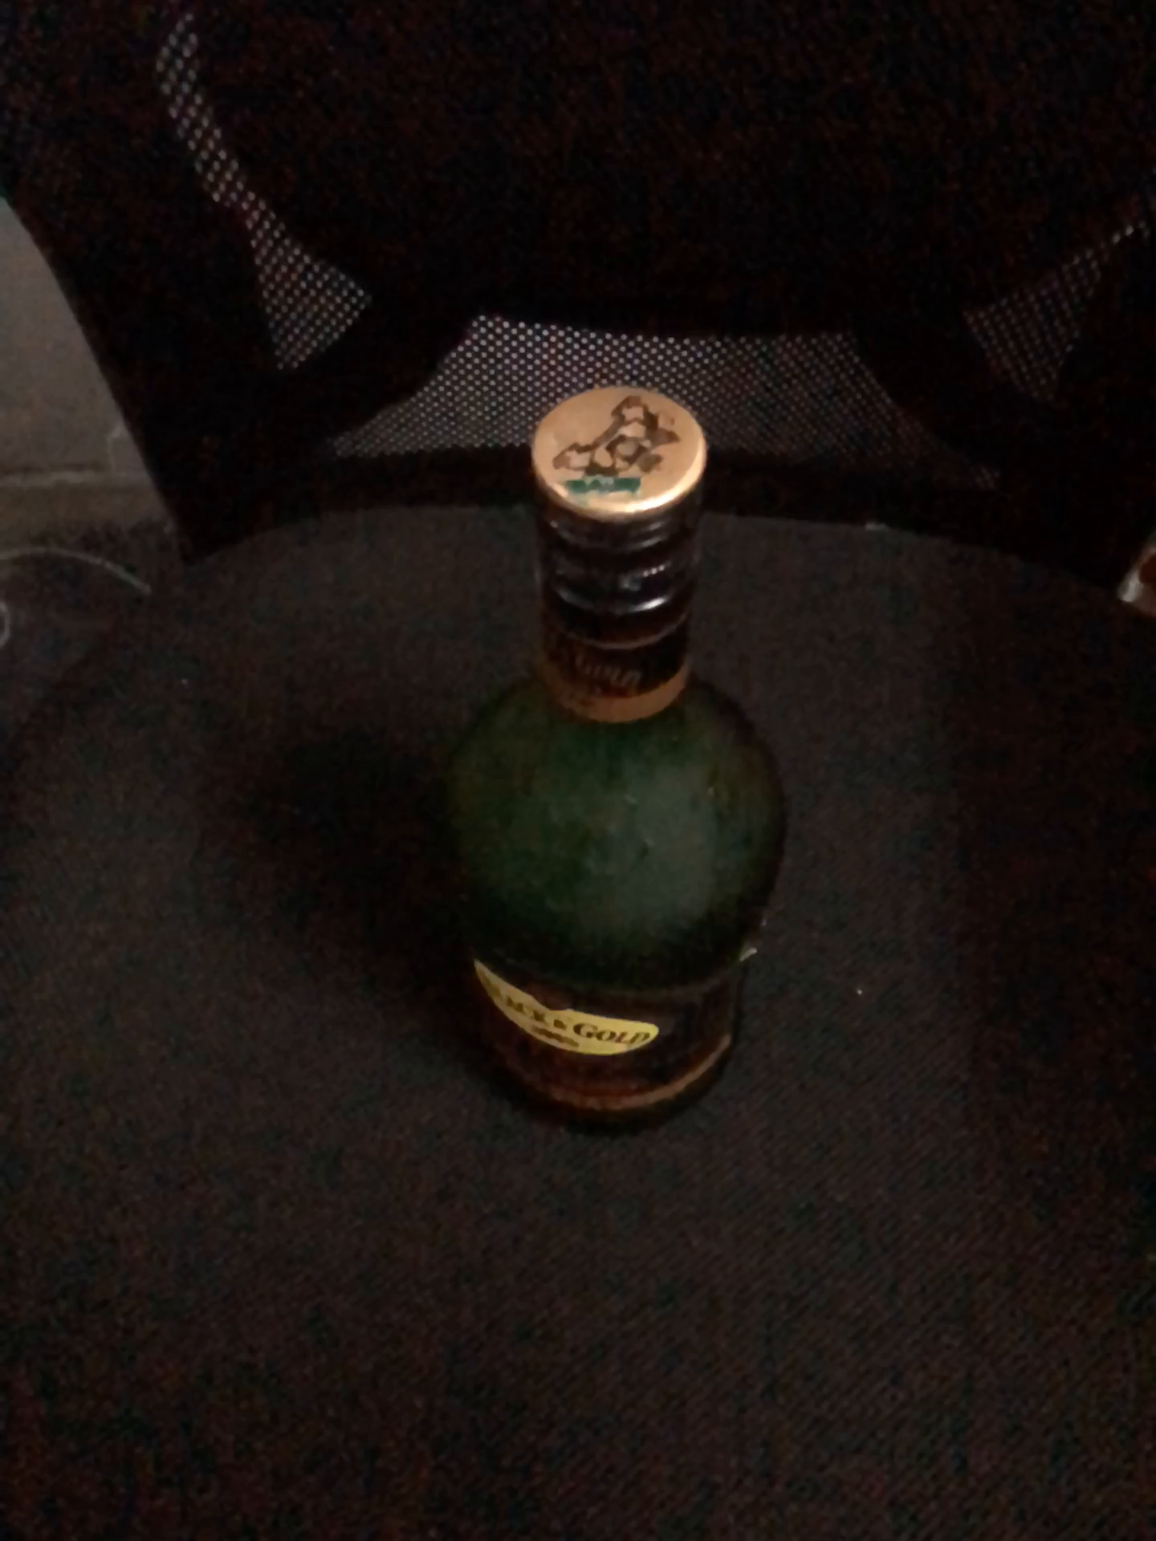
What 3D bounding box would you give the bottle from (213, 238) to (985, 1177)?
[{"bbox_3d":[0.004,0.016,0.334,0.110,0.269,0.080,20,61,10],"label":"bottle"}]
